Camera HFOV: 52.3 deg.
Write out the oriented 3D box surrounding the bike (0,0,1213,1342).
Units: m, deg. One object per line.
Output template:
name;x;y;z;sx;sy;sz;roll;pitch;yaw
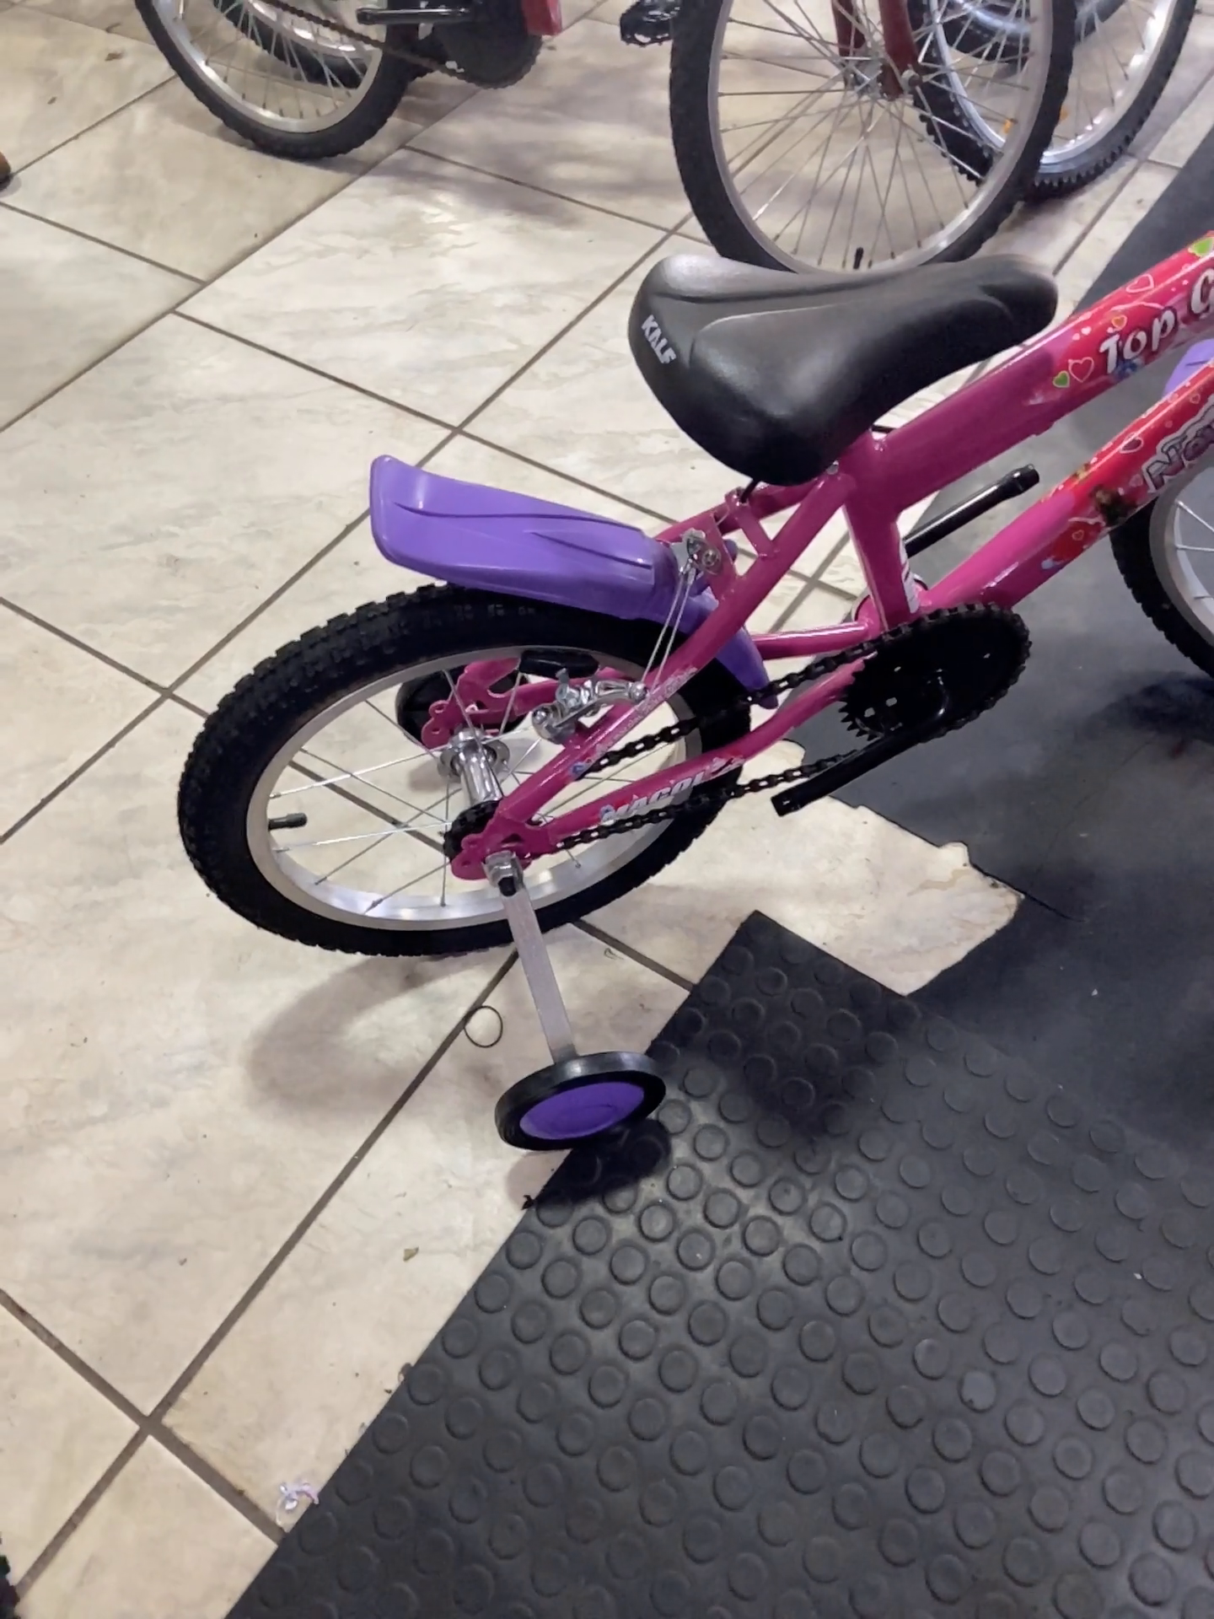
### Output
bike;0.250;-0.110;0.666;0.921;0.703;0.548;-6;54;-4
